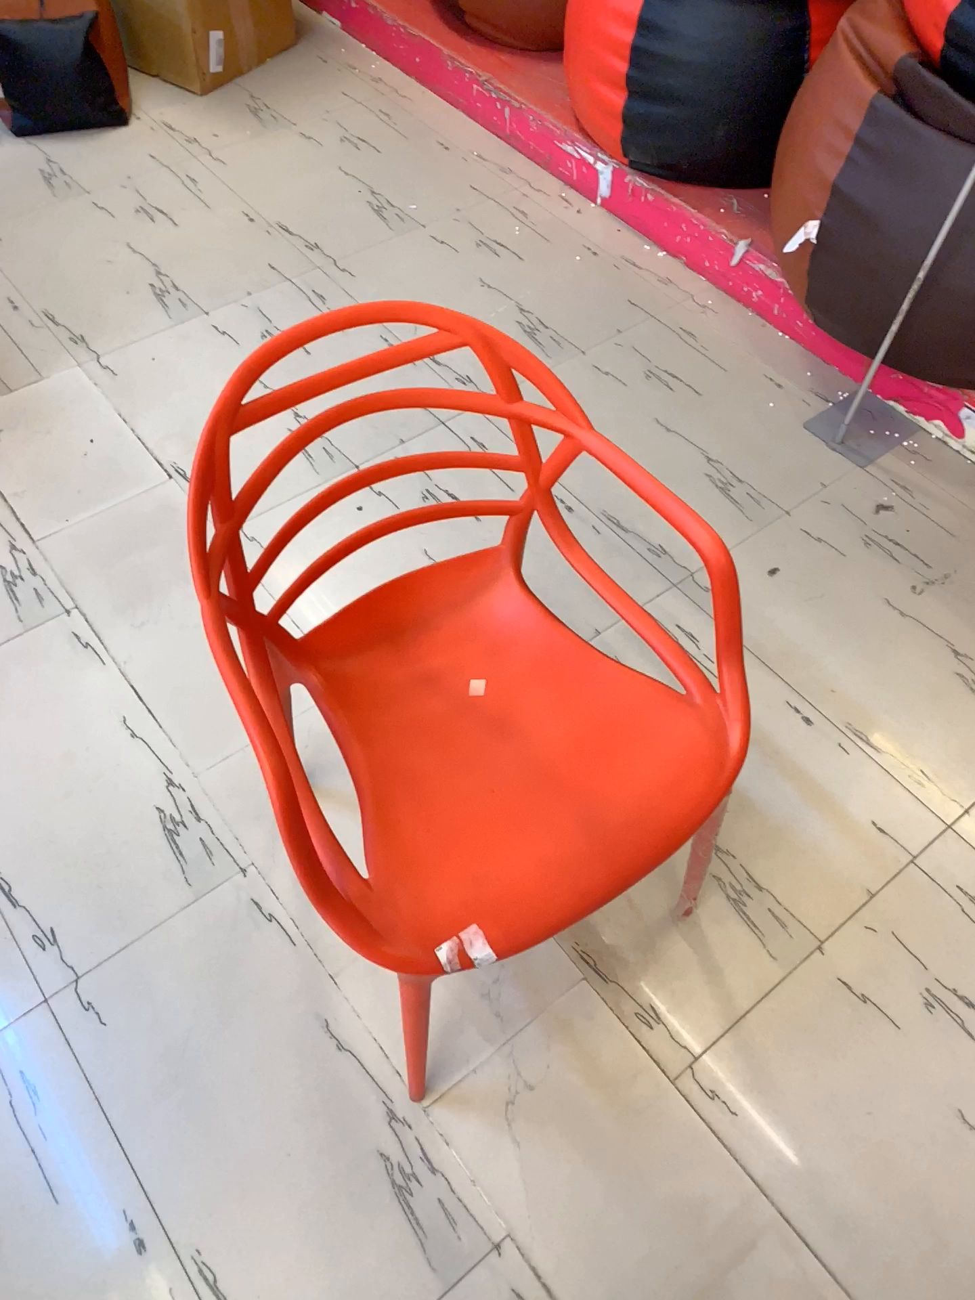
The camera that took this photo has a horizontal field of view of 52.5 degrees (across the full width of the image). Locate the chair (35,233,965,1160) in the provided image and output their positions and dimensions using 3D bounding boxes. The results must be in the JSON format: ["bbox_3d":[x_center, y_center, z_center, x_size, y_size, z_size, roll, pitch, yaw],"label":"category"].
[{"bbox_3d":[-0.024,0.060,1.127,0.551,0.656,0.633,-28,60,-21],"label":"chair"}]
